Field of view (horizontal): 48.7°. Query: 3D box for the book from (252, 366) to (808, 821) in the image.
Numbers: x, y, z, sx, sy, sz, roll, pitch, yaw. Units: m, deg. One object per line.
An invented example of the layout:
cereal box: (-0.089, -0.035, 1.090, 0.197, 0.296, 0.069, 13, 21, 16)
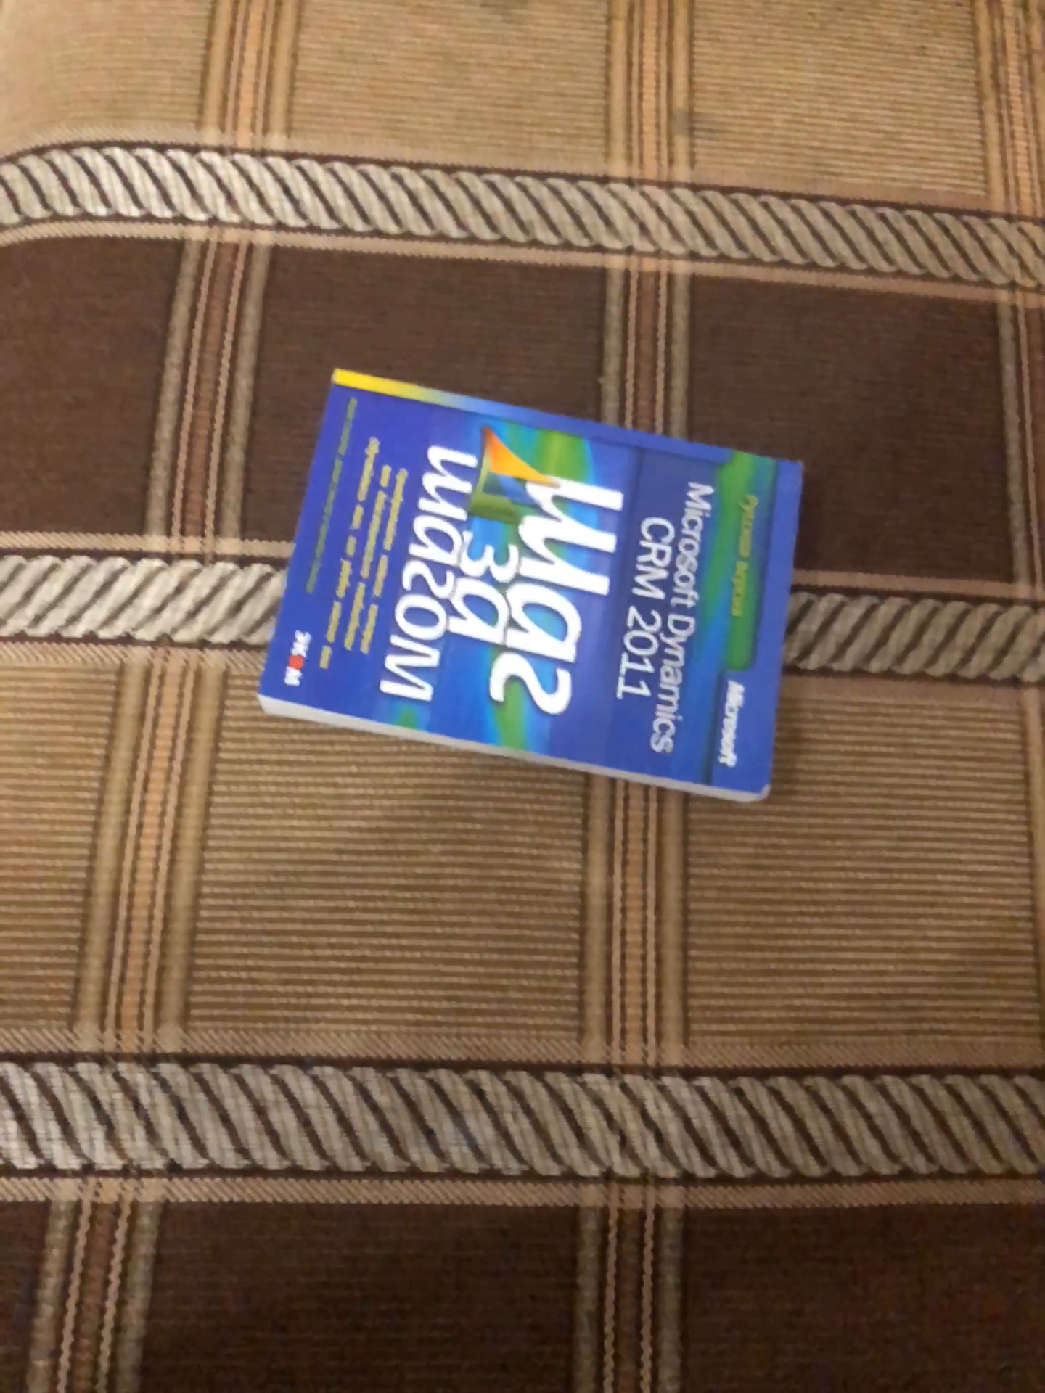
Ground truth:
book: (0.008, -0.042, 0.472, 0.200, 0.030, 0.151, 10, 74, -3)
